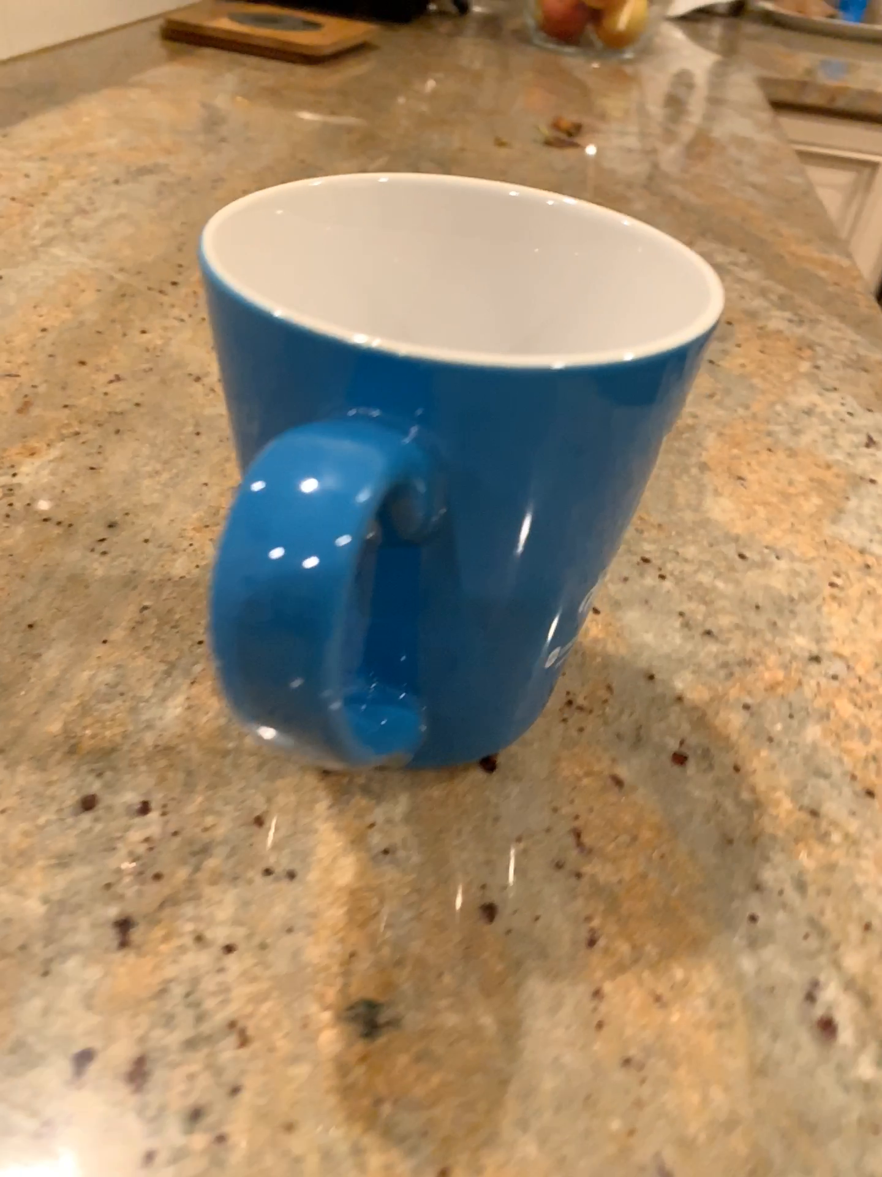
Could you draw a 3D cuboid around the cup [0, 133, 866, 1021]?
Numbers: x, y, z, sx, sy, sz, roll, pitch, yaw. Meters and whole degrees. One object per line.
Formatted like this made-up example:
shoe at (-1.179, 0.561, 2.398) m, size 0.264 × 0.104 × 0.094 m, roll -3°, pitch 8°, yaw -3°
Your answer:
cup at (-0.002, -0.013, 0.181) m, size 0.099 × 0.098 × 0.139 m, roll 8°, pitch 40°, yaw 0°
